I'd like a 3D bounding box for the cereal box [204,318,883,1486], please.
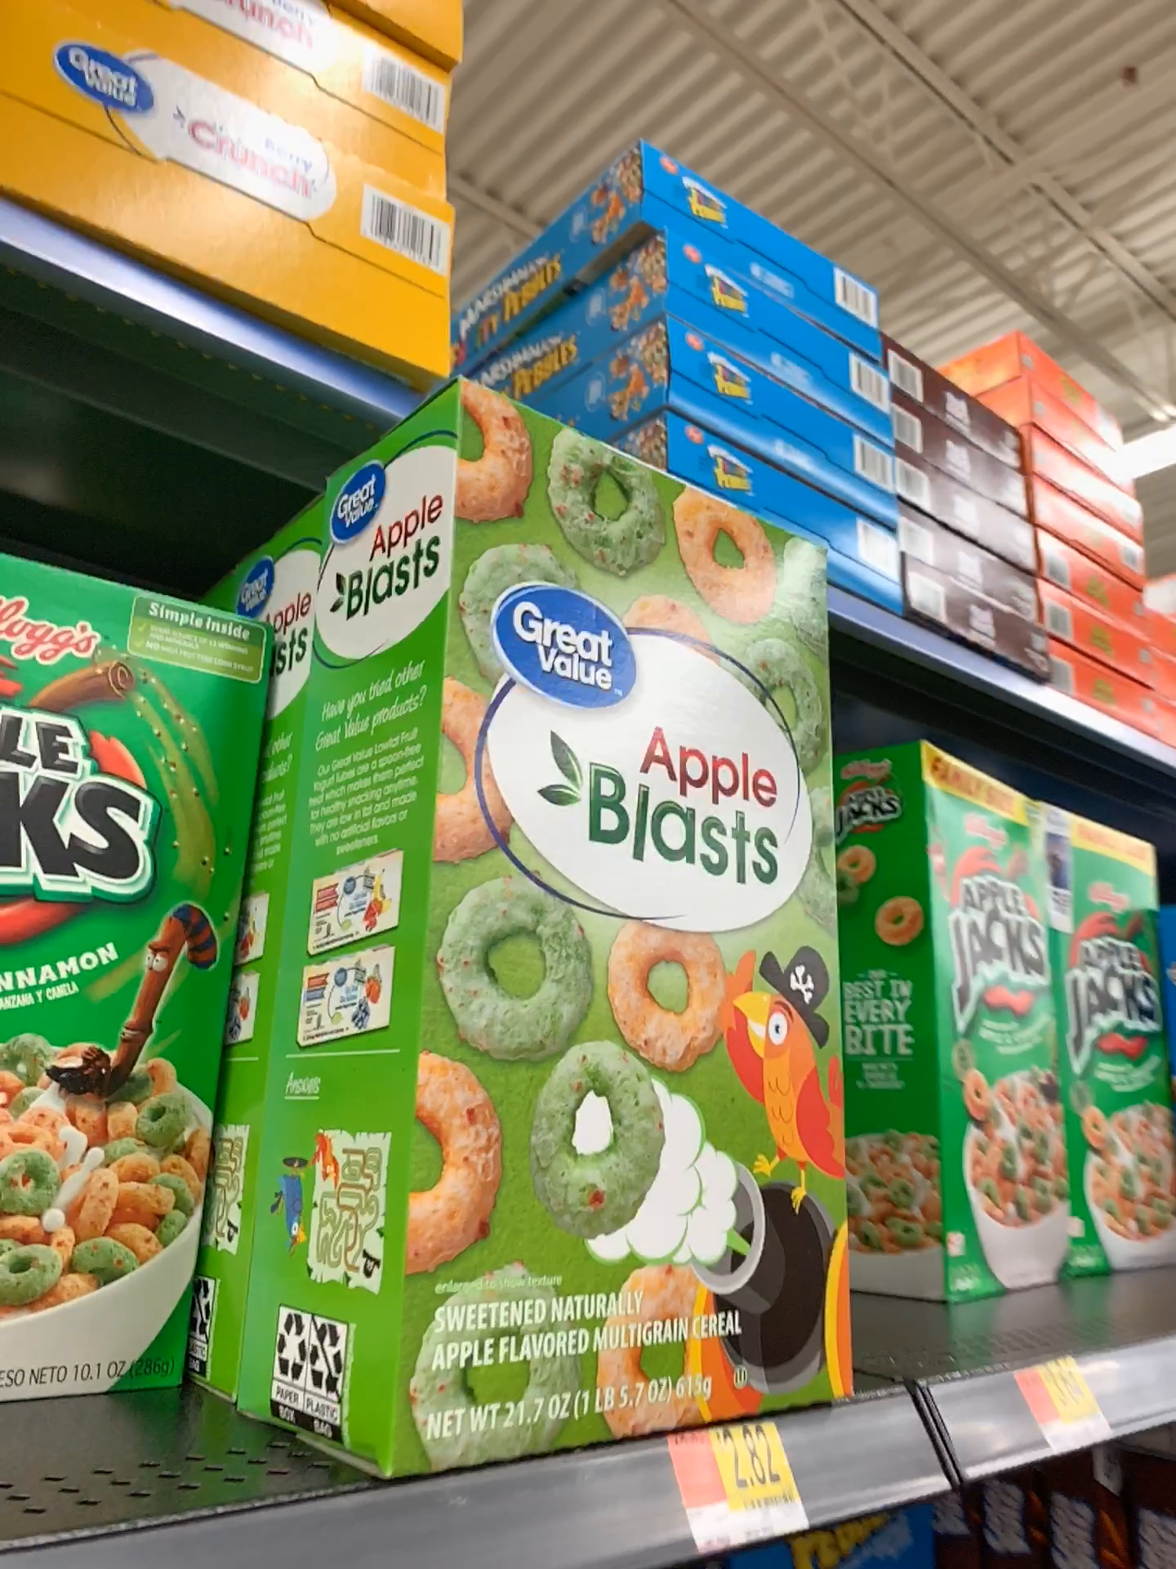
[{"bbox_3d":[-0.002,0.040,0.438,0.199,0.331,0.100,15,-21,-38],"label":"cereal box"}]
